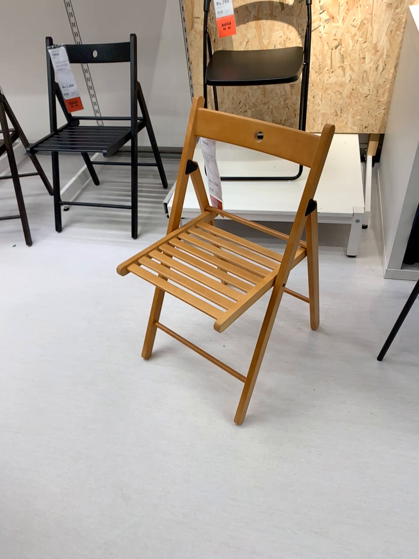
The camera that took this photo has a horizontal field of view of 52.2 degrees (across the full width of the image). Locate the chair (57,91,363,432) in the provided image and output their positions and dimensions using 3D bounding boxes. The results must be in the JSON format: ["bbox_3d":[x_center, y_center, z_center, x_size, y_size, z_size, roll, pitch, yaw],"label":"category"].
[{"bbox_3d":[0.040,-0.073,1.277,0.511,0.697,0.561,26,52,31],"label":"chair"}]
